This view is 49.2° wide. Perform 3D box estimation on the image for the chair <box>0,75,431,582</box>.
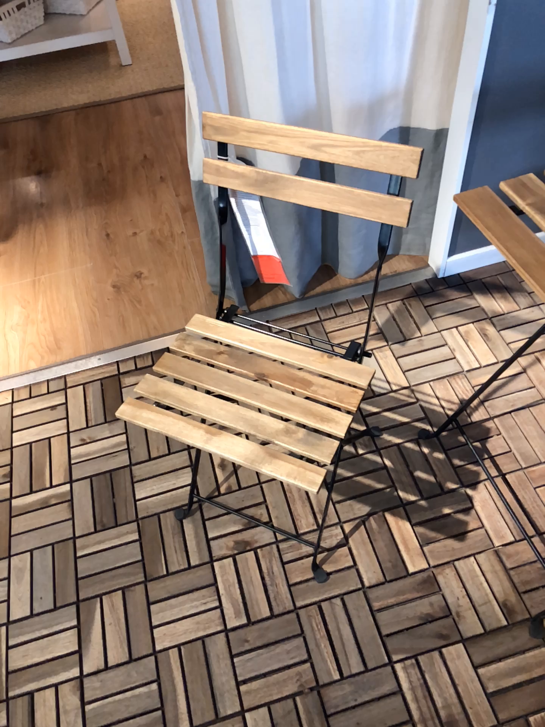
[{"bbox_3d":[-0.045,-0.015,1.057,0.431,0.726,0.432,18,56,17],"label":"chair"}]
